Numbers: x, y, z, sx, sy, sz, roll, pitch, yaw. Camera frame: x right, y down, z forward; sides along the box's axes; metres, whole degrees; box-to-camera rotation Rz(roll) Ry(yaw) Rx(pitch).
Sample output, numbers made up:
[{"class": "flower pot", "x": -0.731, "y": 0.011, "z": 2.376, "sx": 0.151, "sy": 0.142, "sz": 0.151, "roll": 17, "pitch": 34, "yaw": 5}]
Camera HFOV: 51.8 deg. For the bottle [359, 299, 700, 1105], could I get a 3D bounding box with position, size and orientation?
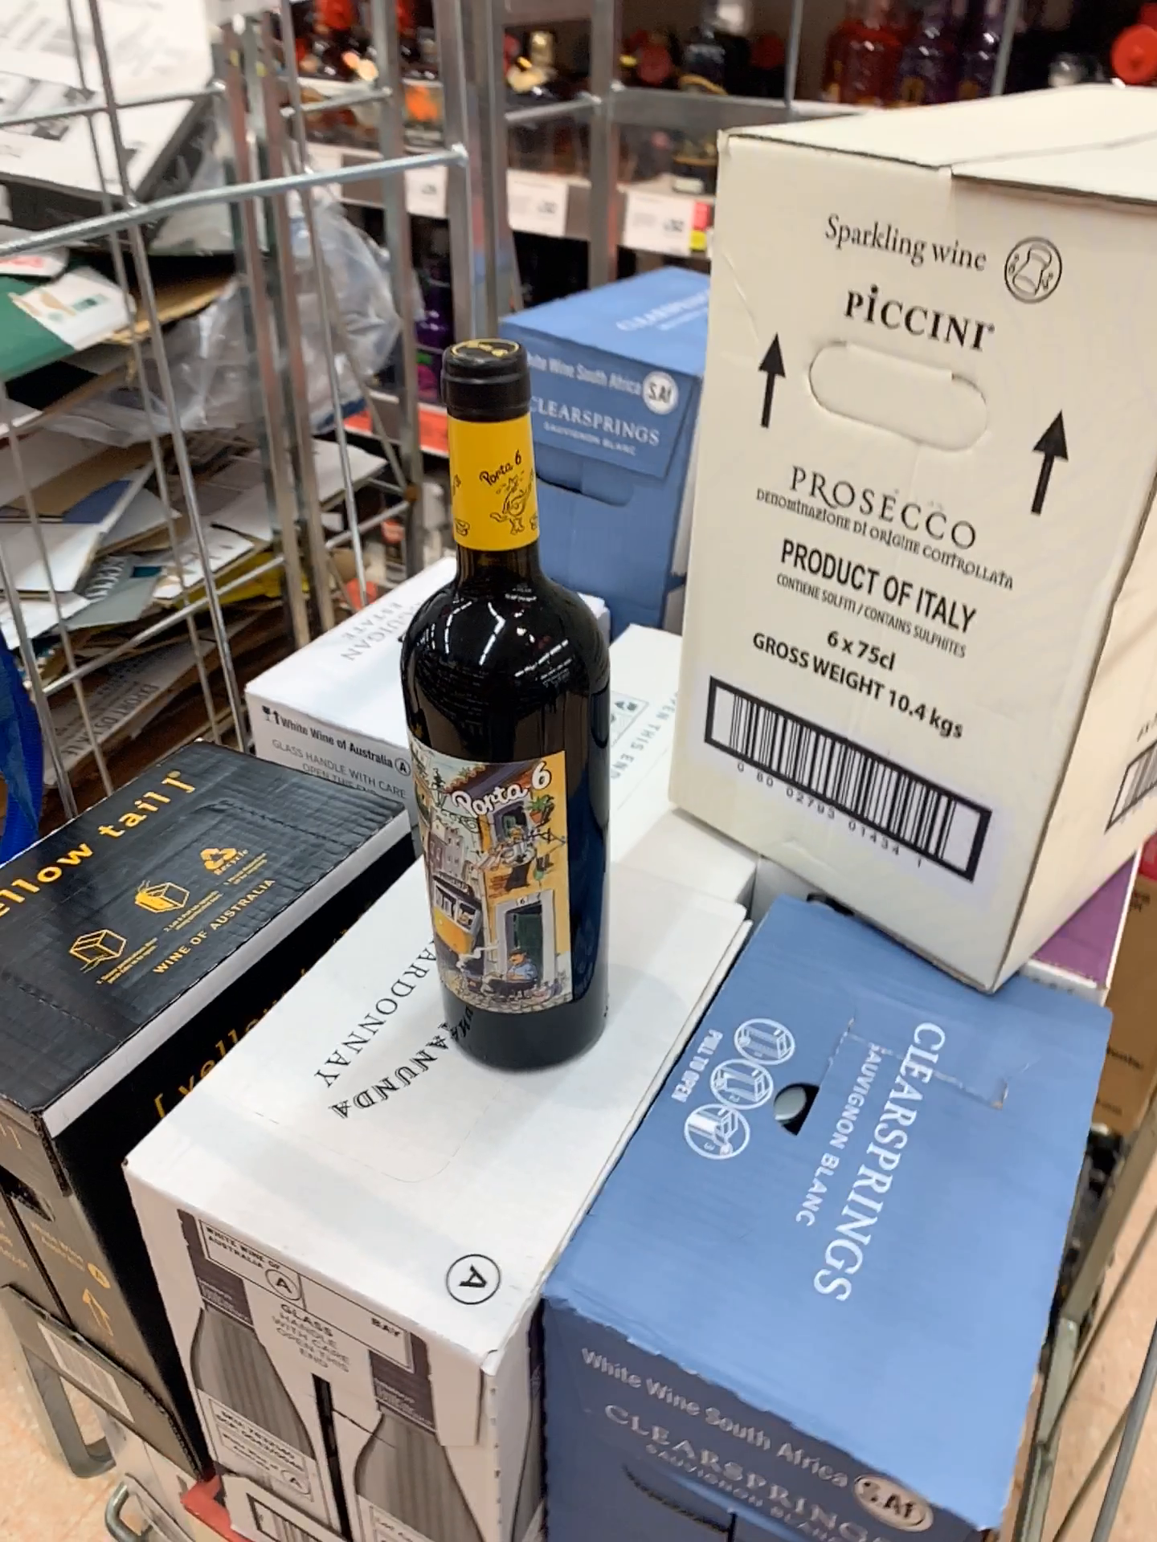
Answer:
[{"class": "bottle", "x": -0.018, "y": -0.013, "z": 0.458, "sx": 0.078, "sy": 0.295, "sz": 0.077, "roll": 1, "pitch": 34, "yaw": -1}]
